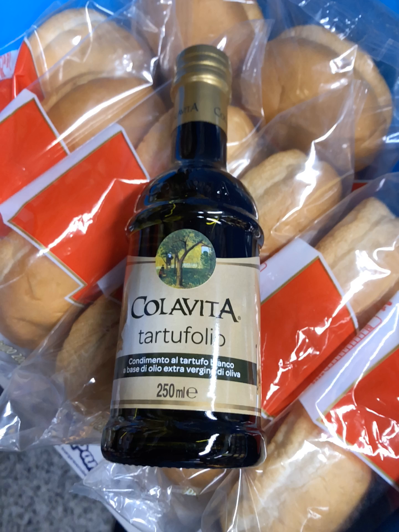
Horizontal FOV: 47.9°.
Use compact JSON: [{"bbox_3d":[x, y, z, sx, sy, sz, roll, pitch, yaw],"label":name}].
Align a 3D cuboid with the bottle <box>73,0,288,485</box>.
[{"bbox_3d":[-0.002,-0.023,0.204,0.070,0.060,0.210,-1,73,6],"label":"bottle"}]
